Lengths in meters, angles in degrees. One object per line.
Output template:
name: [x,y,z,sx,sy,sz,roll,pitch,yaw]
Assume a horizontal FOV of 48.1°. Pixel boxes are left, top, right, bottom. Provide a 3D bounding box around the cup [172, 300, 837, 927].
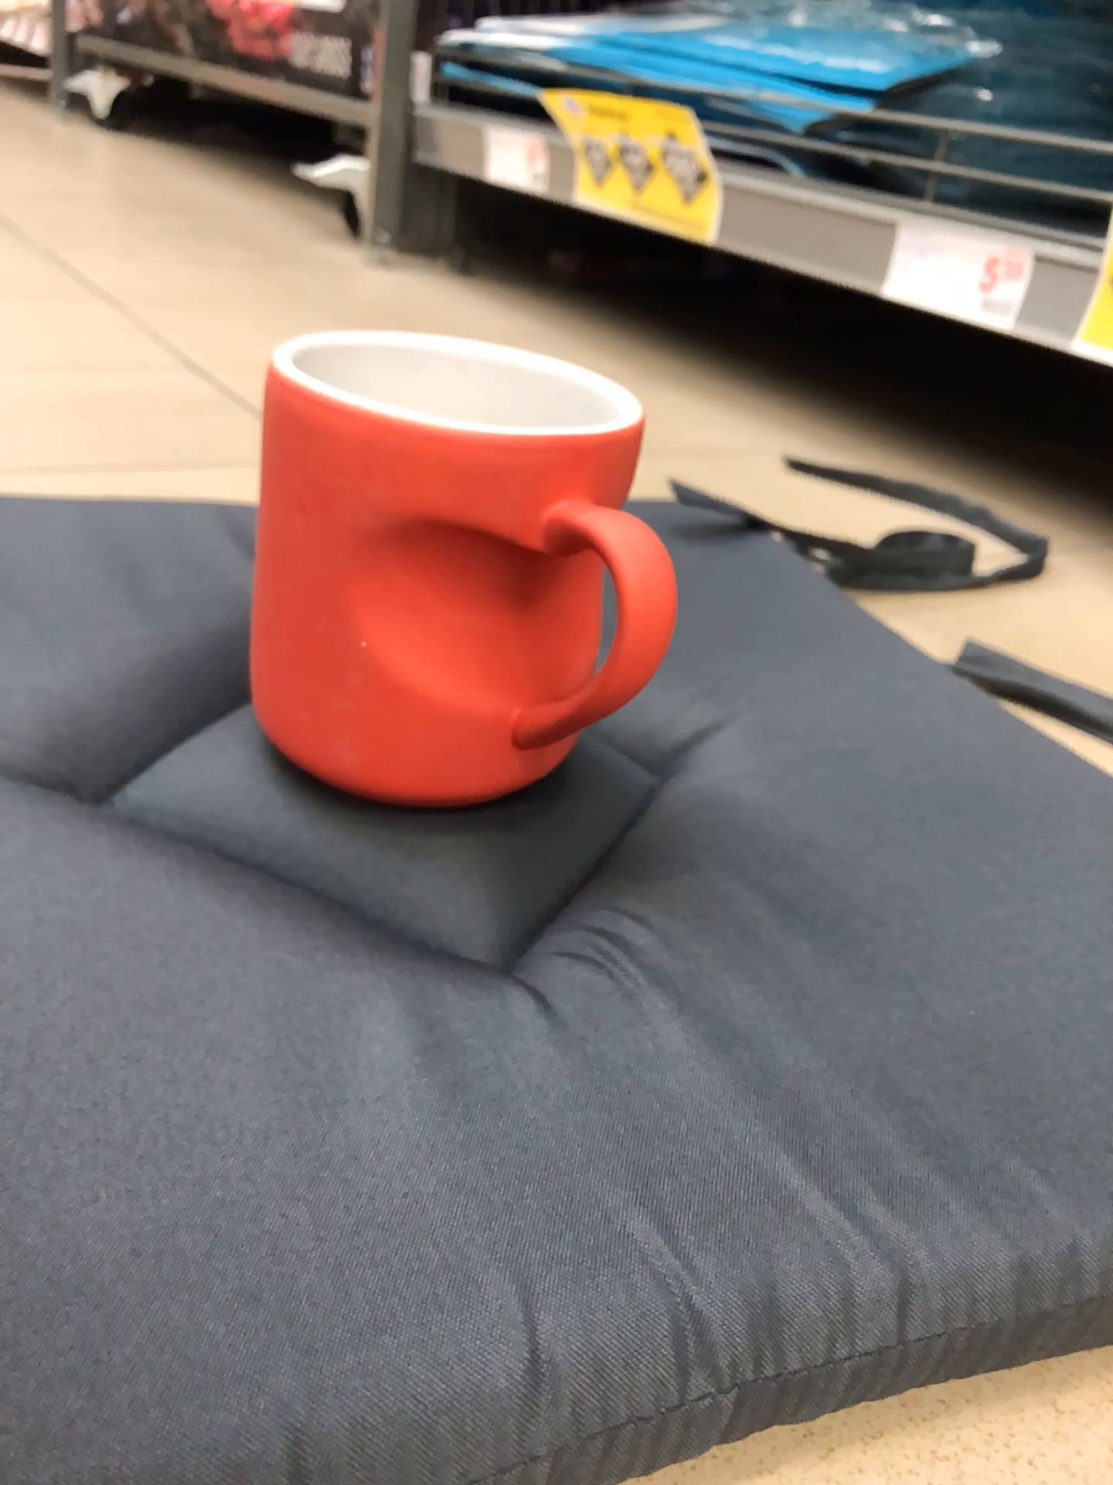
cup: [-0.022,-0.039,0.281,0.090,0.089,0.120,-11,33,-34]
